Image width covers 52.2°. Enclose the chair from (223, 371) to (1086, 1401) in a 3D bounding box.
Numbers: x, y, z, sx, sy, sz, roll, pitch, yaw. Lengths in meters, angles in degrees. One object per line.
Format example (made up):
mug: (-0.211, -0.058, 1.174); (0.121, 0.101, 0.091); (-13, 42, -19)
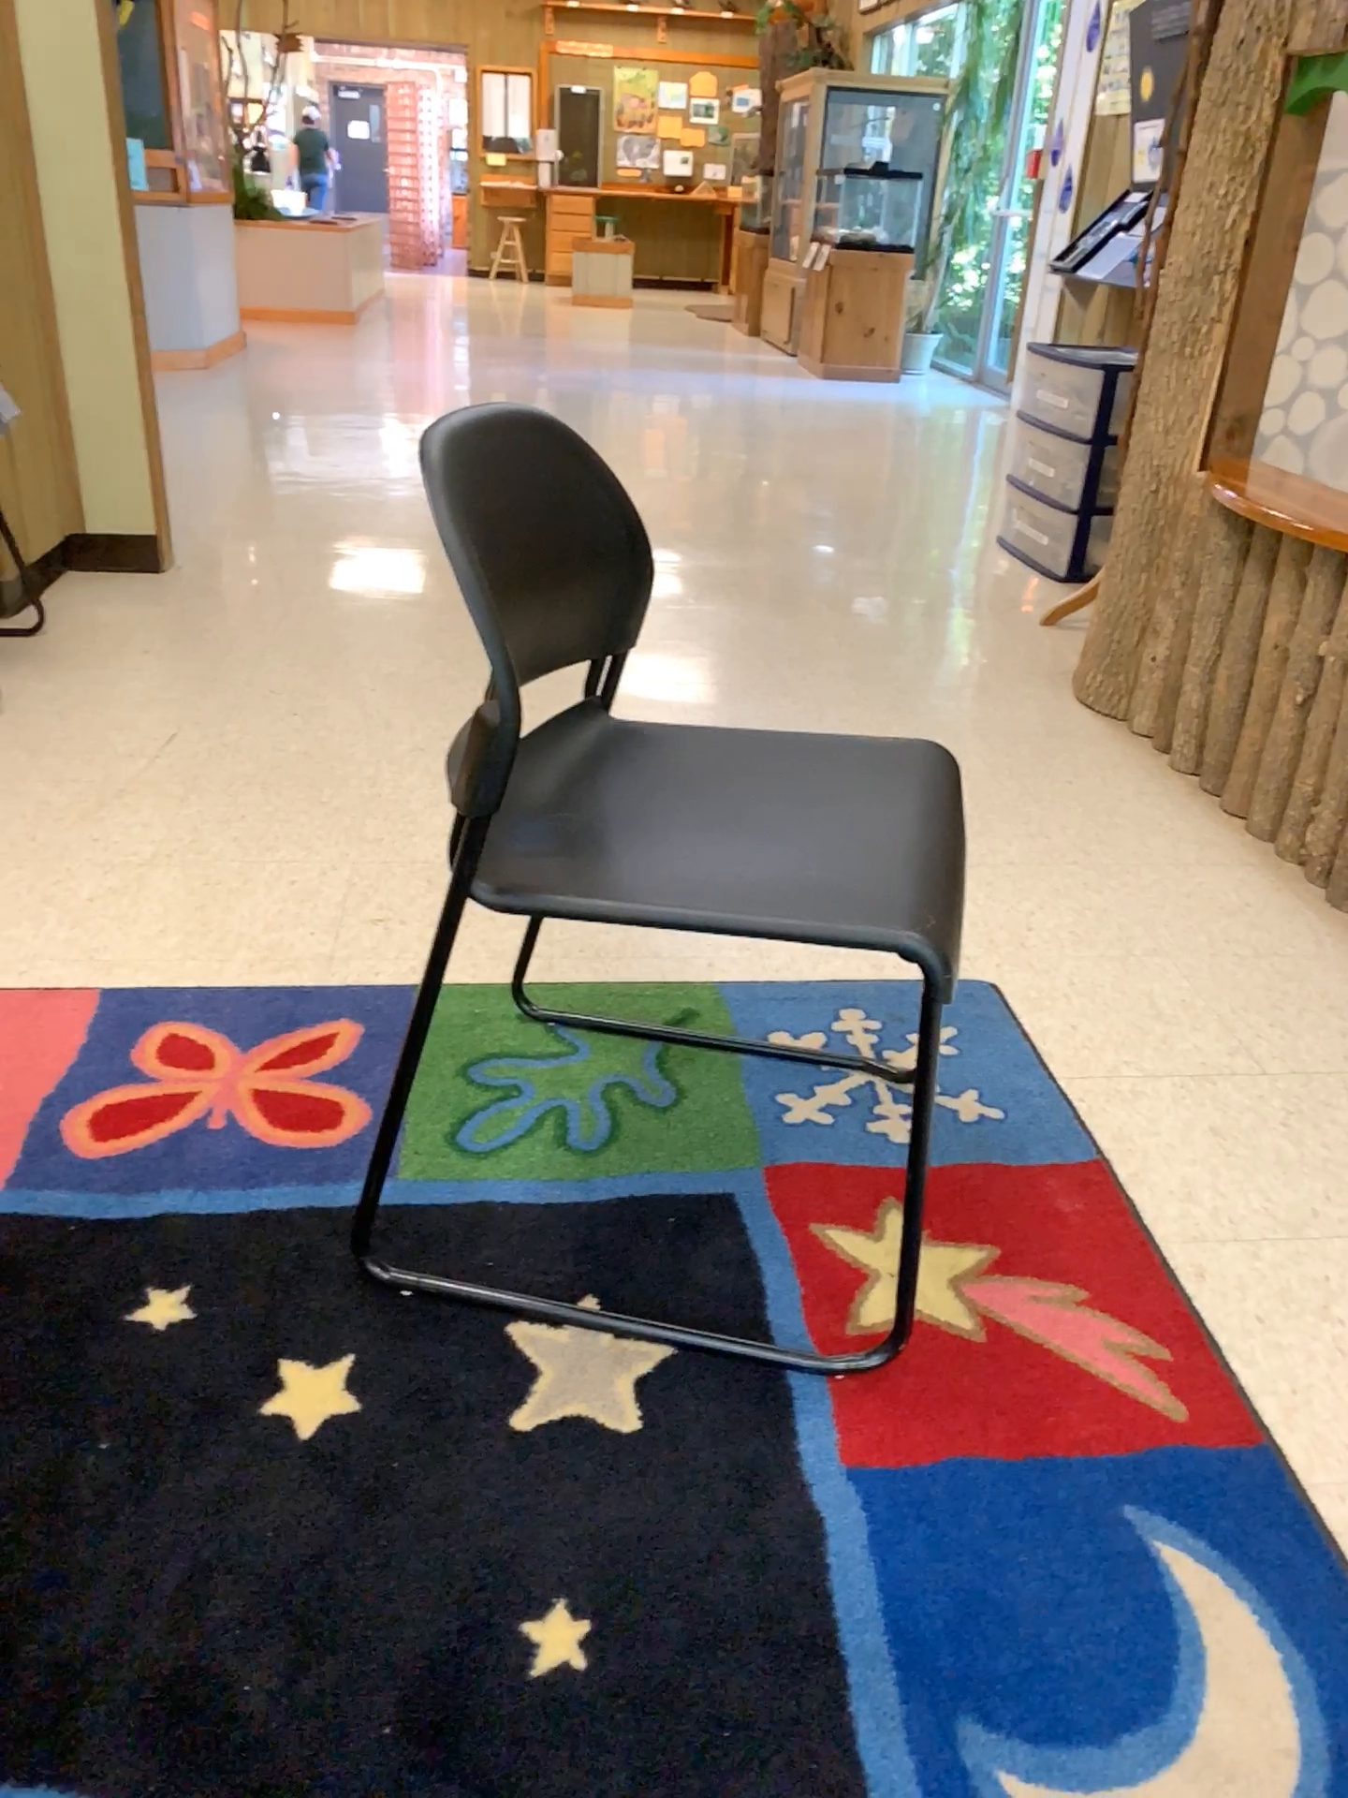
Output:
chair: (0.010, -0.066, 1.379); (0.610, 0.775, 0.593); (8, 27, 9)
